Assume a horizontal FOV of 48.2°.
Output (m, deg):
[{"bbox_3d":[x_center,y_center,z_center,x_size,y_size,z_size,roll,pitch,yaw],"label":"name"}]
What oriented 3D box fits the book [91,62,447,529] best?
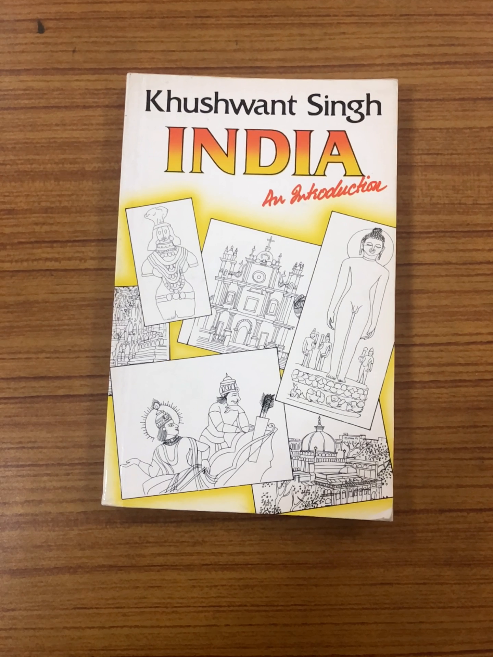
[{"bbox_3d":[0.012,-0.017,0.238,0.140,0.020,0.190,2,84,1],"label":"book"}]
